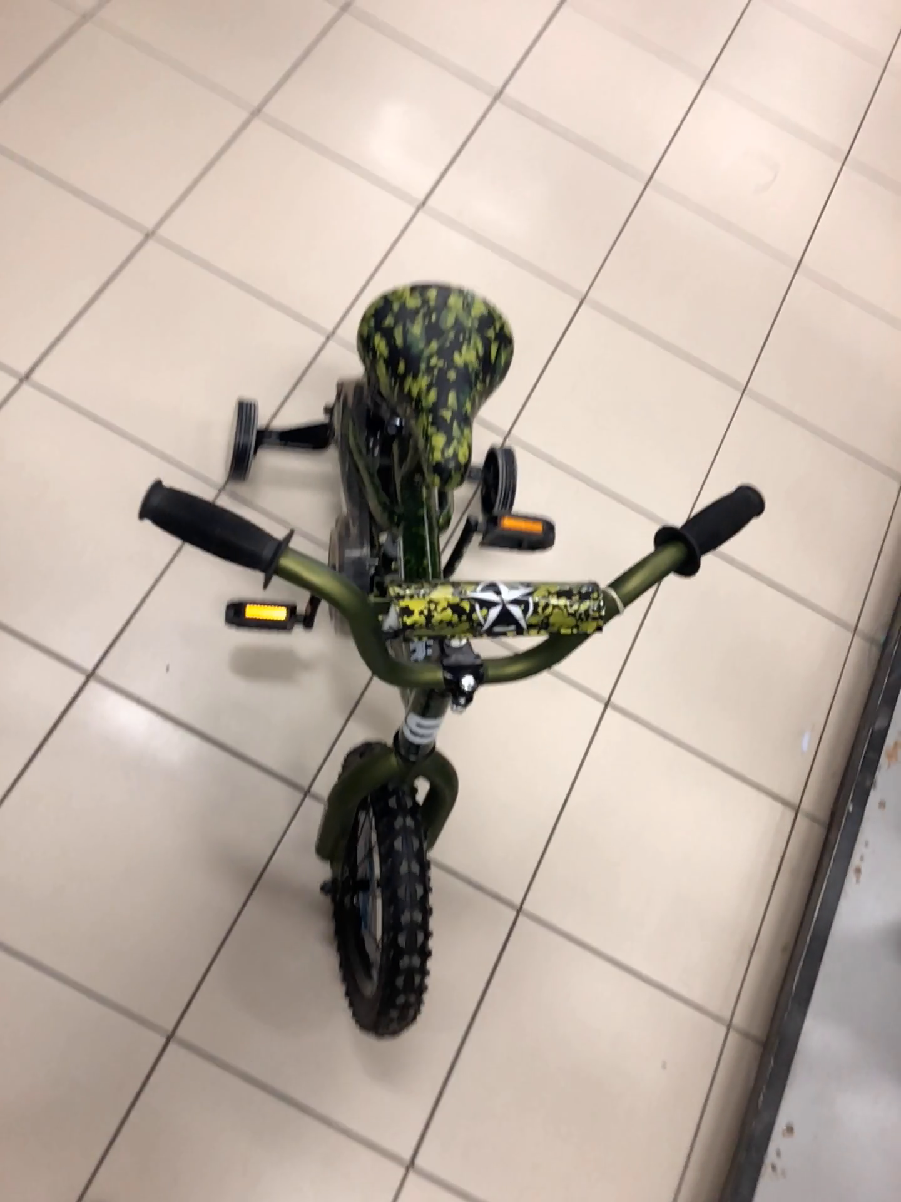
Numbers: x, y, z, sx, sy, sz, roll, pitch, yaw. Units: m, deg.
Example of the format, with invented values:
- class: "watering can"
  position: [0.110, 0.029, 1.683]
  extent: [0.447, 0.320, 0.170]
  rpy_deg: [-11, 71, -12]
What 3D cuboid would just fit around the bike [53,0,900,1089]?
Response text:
- class: "bike"
  position: [-0.021, -0.016, 0.965]
  extent: [0.533, 0.558, 0.817]
  rpy_deg: [3, 67, -13]
